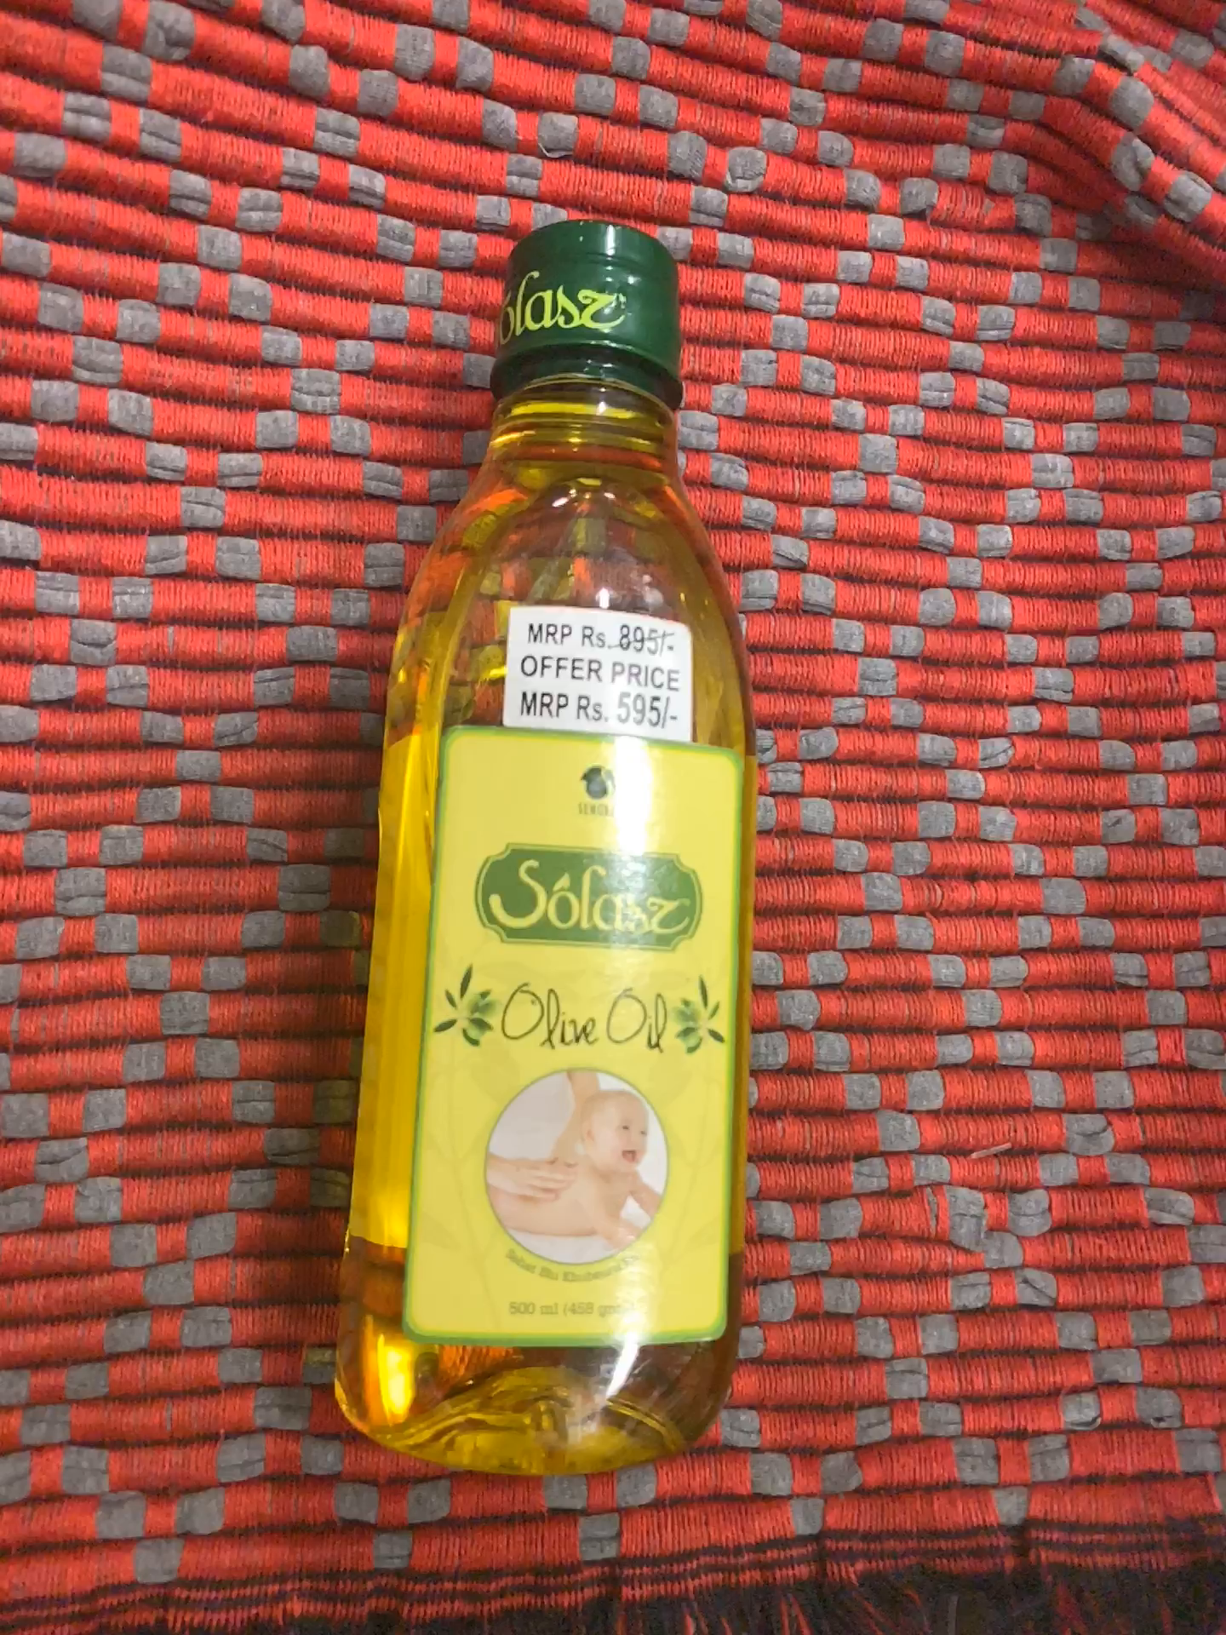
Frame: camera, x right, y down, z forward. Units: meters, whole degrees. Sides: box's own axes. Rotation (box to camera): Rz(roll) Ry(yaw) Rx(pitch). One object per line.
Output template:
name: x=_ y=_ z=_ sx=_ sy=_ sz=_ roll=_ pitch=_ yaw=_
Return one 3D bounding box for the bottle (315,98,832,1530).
bottle: x=-0.006 y=-0.004 z=0.226 sx=0.070 sy=0.060 sz=0.220 roll=4 pitch=80 yaw=-9
